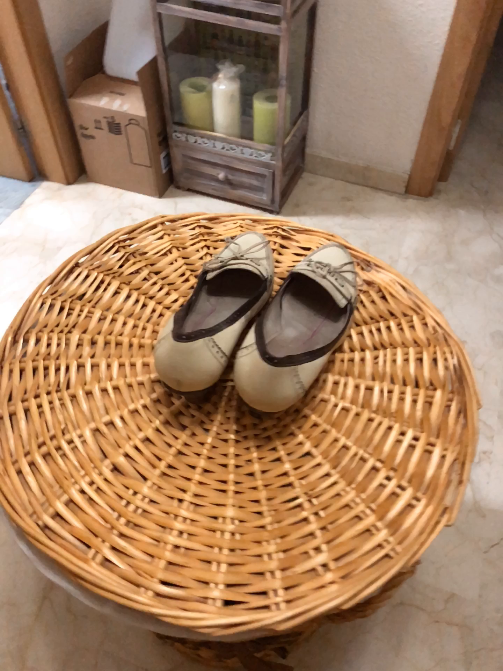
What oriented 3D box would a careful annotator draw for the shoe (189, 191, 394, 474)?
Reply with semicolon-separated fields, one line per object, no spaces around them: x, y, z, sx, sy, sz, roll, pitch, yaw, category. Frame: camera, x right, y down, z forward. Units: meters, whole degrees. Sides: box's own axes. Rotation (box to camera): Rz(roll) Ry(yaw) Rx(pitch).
0.045;-0.014;0.565;0.100;0.110;0.261;23;54;12;shoe

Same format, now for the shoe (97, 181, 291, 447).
-0.046;-0.034;0.571;0.100;0.090;0.261;16;53;7;shoe
